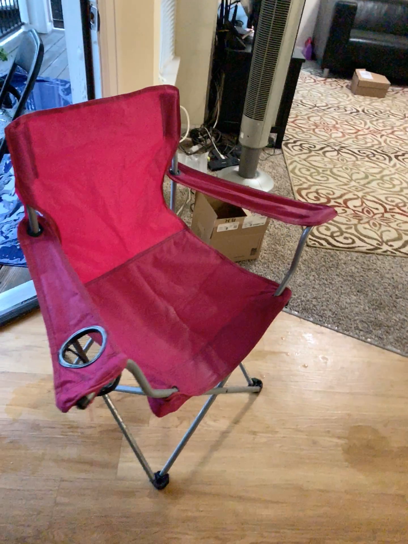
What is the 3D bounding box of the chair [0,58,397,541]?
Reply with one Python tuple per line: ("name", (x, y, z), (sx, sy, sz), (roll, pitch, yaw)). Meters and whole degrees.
("chair", (-0.125, 0.009, 1.041), (0.652, 0.776, 0.671), (-30, 53, -36))
